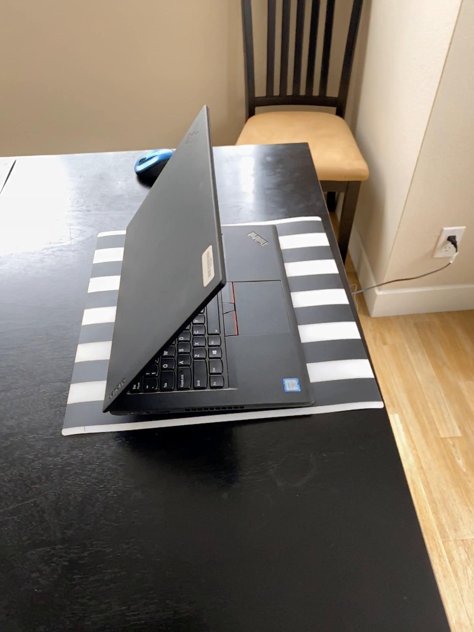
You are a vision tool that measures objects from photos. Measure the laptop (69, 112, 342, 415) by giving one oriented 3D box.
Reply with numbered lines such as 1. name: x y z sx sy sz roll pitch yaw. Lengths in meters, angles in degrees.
1. laptop: -0.033 -0.078 0.565 0.220 0.175 0.322 -4 46 -2
